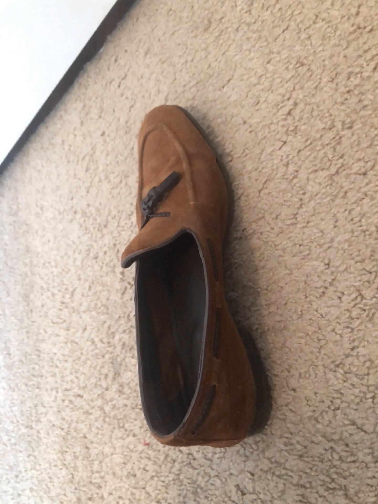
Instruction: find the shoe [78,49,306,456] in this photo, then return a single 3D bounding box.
[{"bbox_3d":[-0.008,-0.002,0.348,0.090,0.100,0.292,-28,67,43],"label":"shoe"}]
